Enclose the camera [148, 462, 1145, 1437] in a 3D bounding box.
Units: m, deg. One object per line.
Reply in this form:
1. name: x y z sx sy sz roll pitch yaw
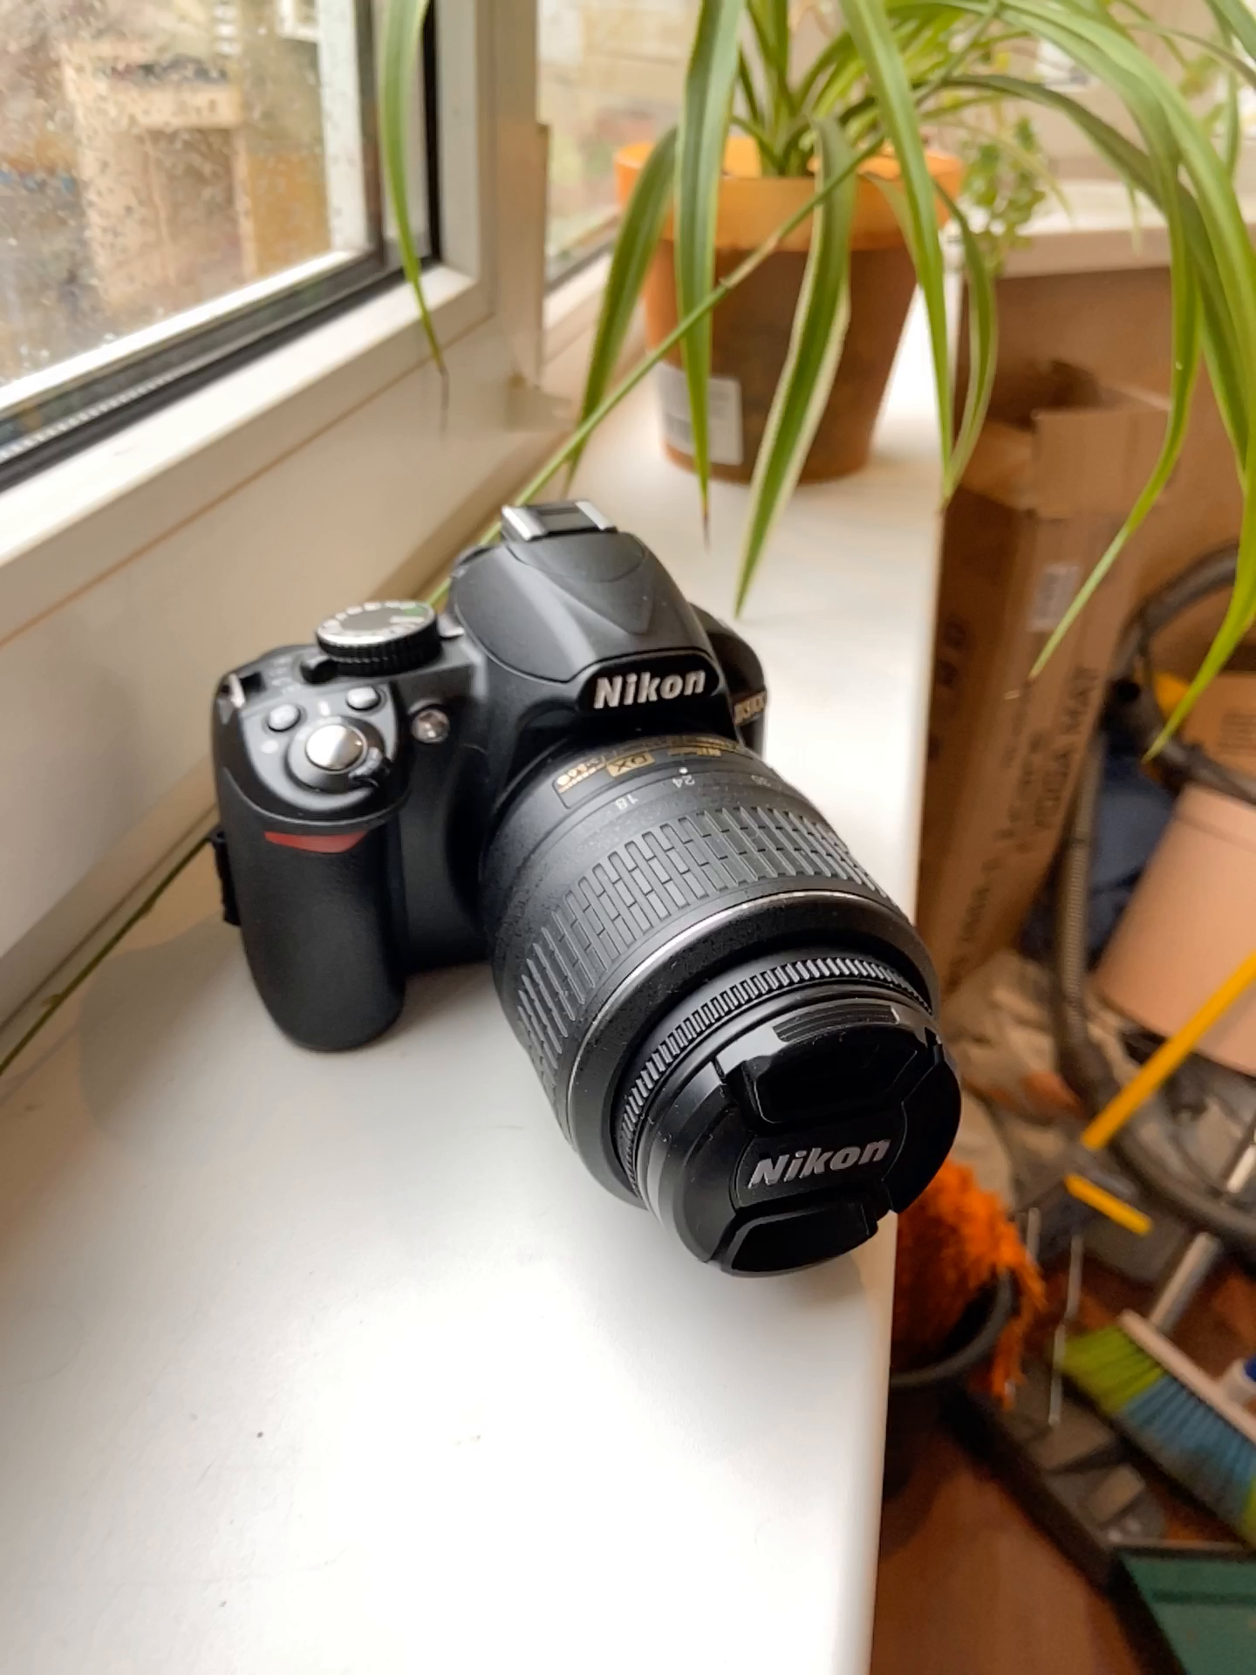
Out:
1. camera: -0.013 0.001 0.253 0.125 0.091 0.155 -11 36 -20
